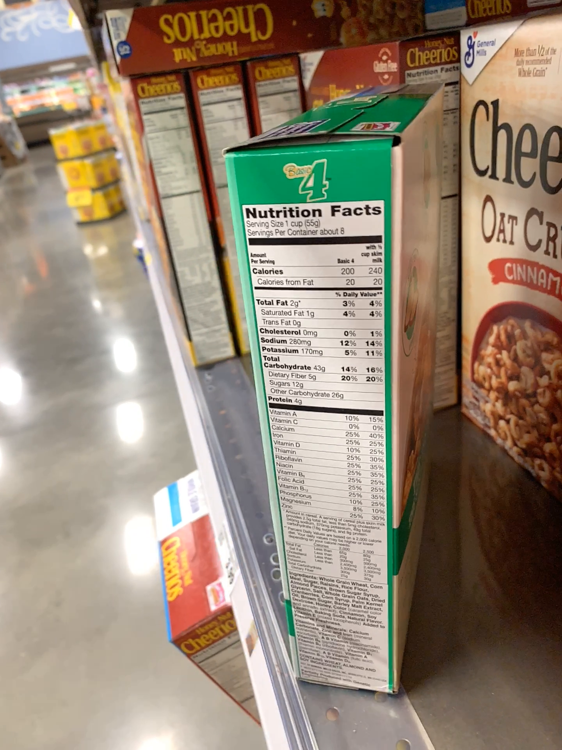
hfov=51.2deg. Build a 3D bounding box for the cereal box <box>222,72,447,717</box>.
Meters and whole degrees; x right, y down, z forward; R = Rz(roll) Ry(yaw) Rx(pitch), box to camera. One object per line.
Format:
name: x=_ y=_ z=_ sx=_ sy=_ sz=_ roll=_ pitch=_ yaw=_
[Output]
cereal box: x=0.049 y=-0.003 z=0.304 sx=0.050 sy=0.259 sz=0.201 roll=4 pitch=30 yaw=18
